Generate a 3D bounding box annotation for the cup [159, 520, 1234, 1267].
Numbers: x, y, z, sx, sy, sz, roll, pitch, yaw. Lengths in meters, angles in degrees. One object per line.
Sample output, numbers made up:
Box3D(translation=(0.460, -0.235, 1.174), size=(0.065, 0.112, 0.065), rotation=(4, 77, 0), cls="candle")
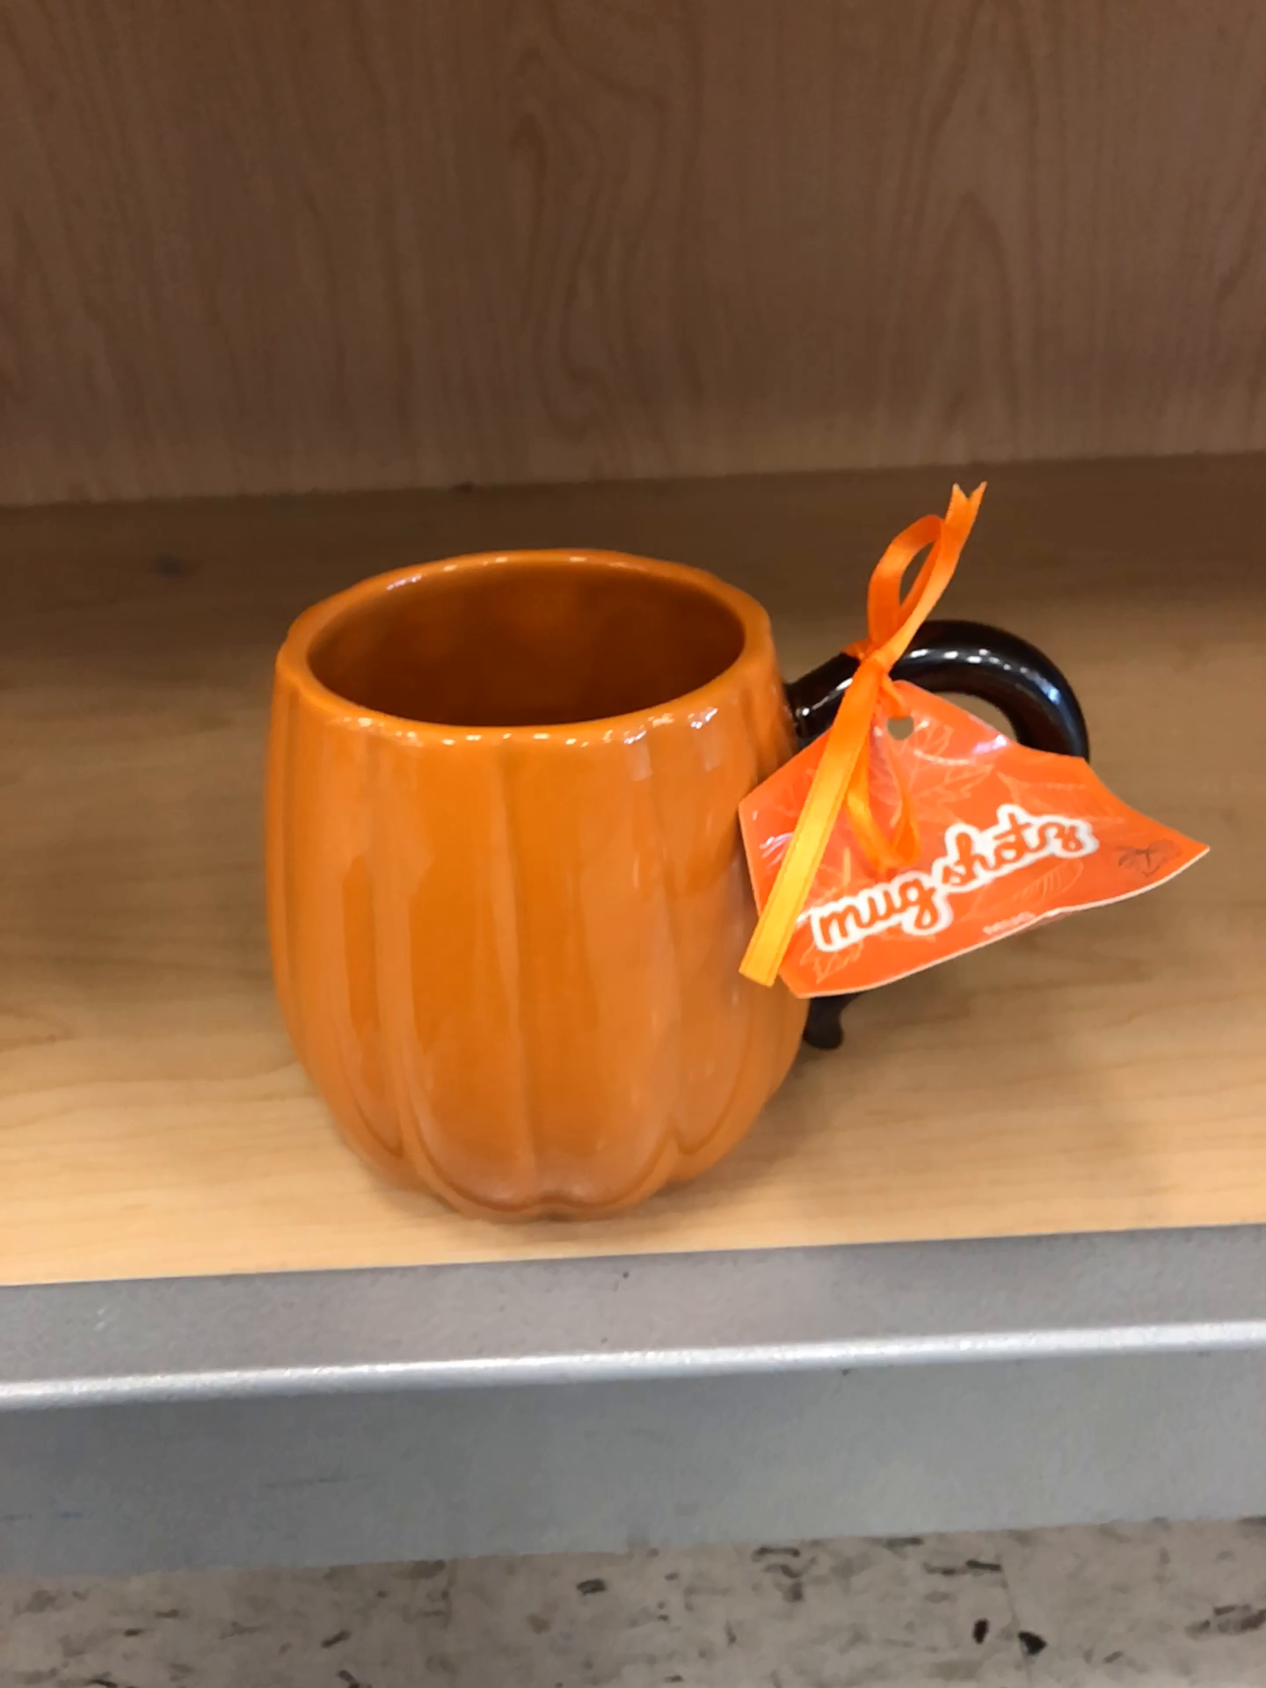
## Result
Box3D(translation=(0.009, 0.005, 0.242), size=(0.140, 0.089, 0.081), rotation=(-3, 32, -1), cls="cup")
